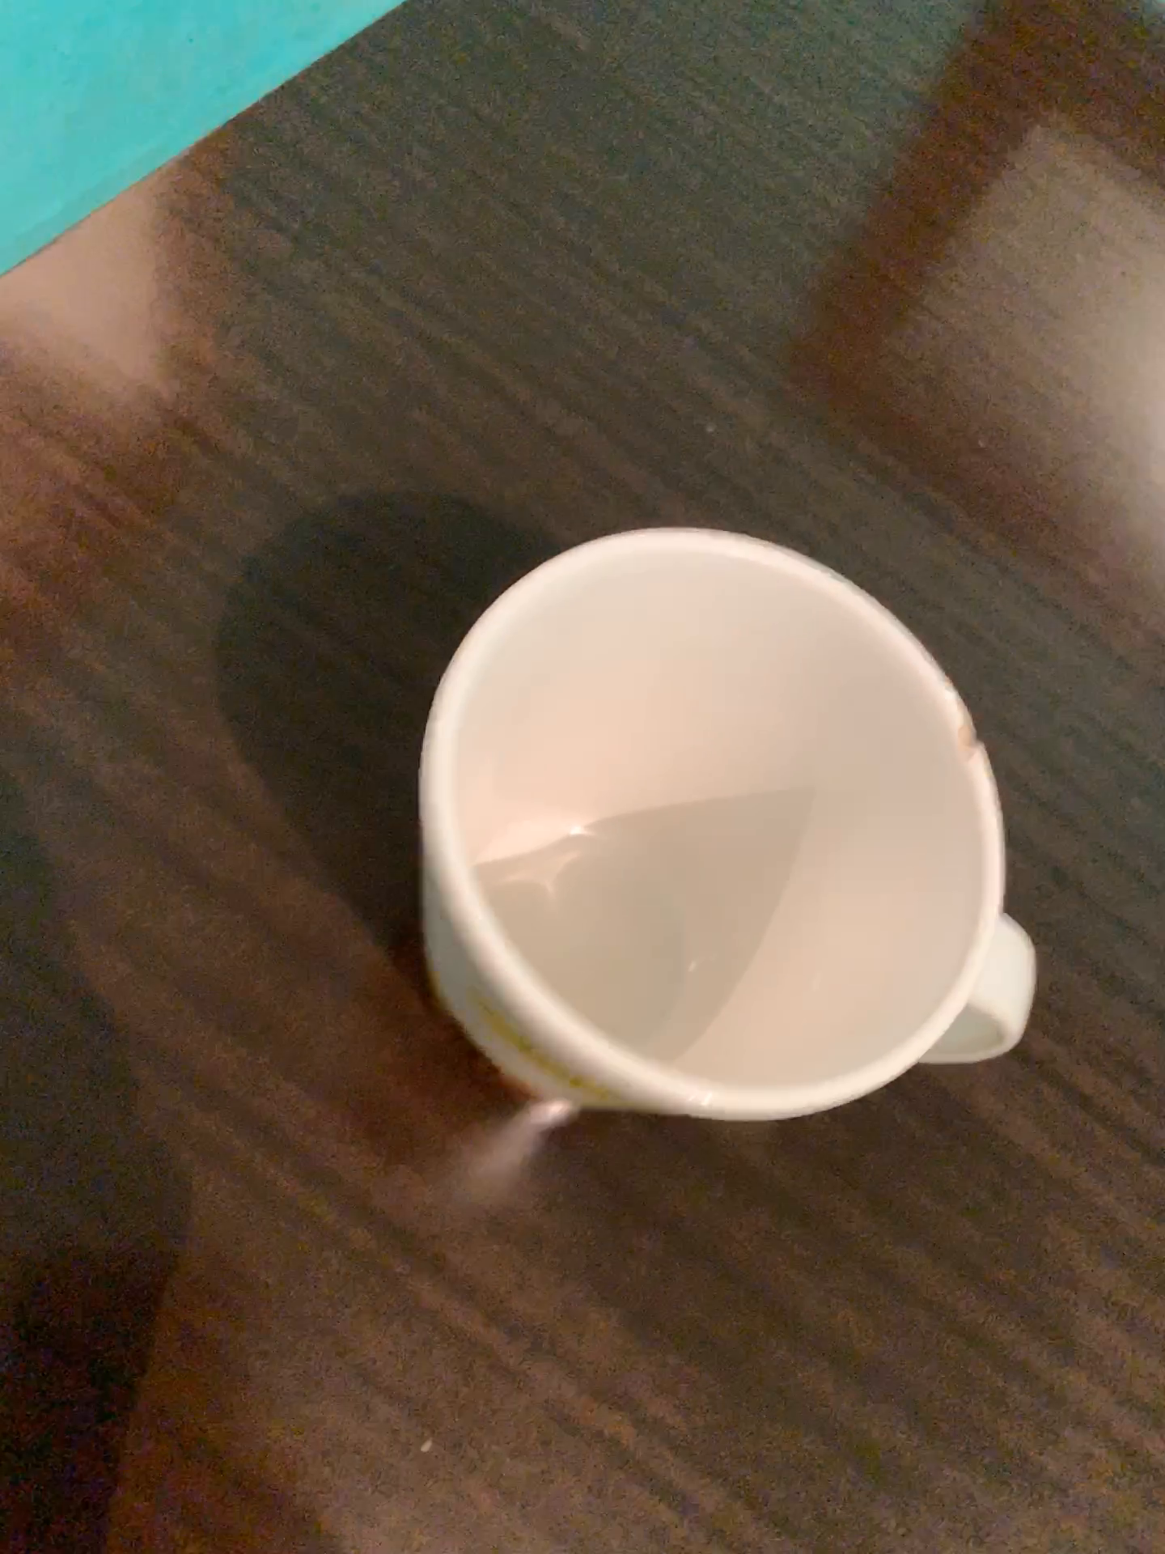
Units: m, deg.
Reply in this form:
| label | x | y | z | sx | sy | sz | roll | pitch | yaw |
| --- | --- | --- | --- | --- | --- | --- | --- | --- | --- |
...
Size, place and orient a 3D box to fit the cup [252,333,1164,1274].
| label | x | y | z | sx | sy | sz | roll | pitch | yaw |
| --- | --- | --- | --- | --- | --- | --- | --- | --- | --- |
| cup | 0.021 | 0.013 | 0.188 | 0.110 | 0.080 | 0.090 | 21 | 64 | -8 |
